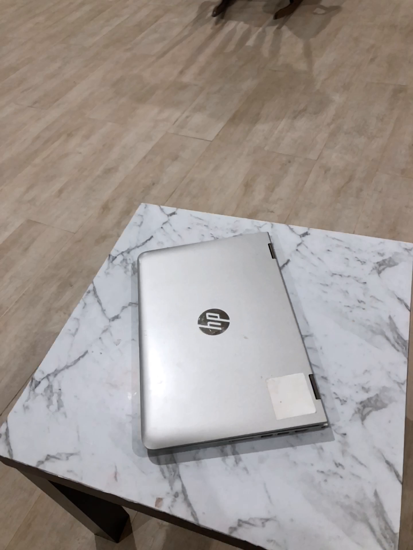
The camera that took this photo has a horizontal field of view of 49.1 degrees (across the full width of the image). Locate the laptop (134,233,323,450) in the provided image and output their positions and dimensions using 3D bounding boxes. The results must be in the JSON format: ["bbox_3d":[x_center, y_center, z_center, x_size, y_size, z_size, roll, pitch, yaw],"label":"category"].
[{"bbox_3d":[0.007,0.061,0.576,0.197,0.001,0.294,-9,48,-1],"label":"laptop"}]
